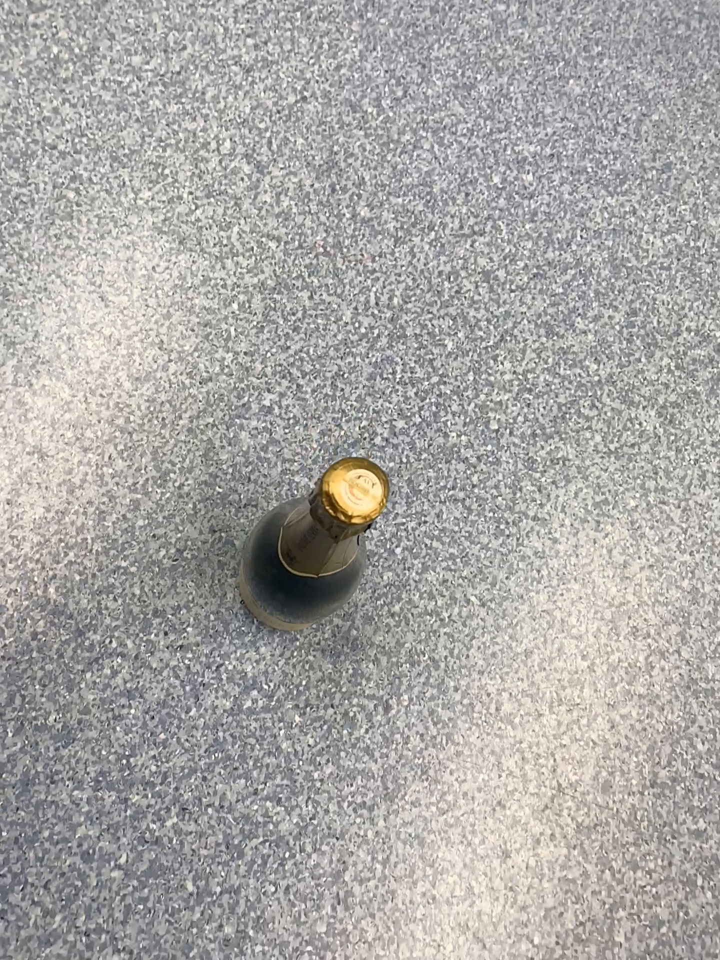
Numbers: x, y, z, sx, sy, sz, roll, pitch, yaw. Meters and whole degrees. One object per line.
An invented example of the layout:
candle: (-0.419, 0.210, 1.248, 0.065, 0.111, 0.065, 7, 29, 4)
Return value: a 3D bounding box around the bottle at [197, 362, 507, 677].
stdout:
bottle: (-0.029, 0.051, 0.482, 0.105, 0.293, 0.104, 3, 74, -11)
